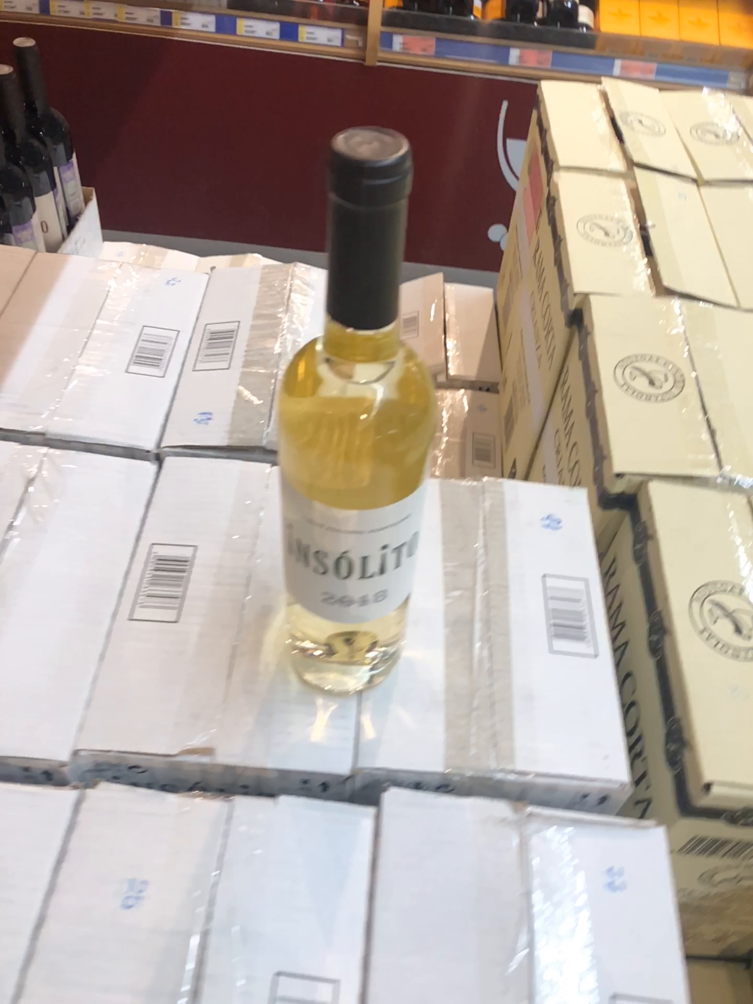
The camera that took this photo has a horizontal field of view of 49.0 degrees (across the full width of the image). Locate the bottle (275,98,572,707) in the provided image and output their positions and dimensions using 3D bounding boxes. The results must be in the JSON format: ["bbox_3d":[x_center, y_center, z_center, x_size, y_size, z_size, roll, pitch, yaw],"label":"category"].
[{"bbox_3d":[-0.001,-0.015,0.389,0.090,0.298,0.091,3,49,-4],"label":"bottle"}]
